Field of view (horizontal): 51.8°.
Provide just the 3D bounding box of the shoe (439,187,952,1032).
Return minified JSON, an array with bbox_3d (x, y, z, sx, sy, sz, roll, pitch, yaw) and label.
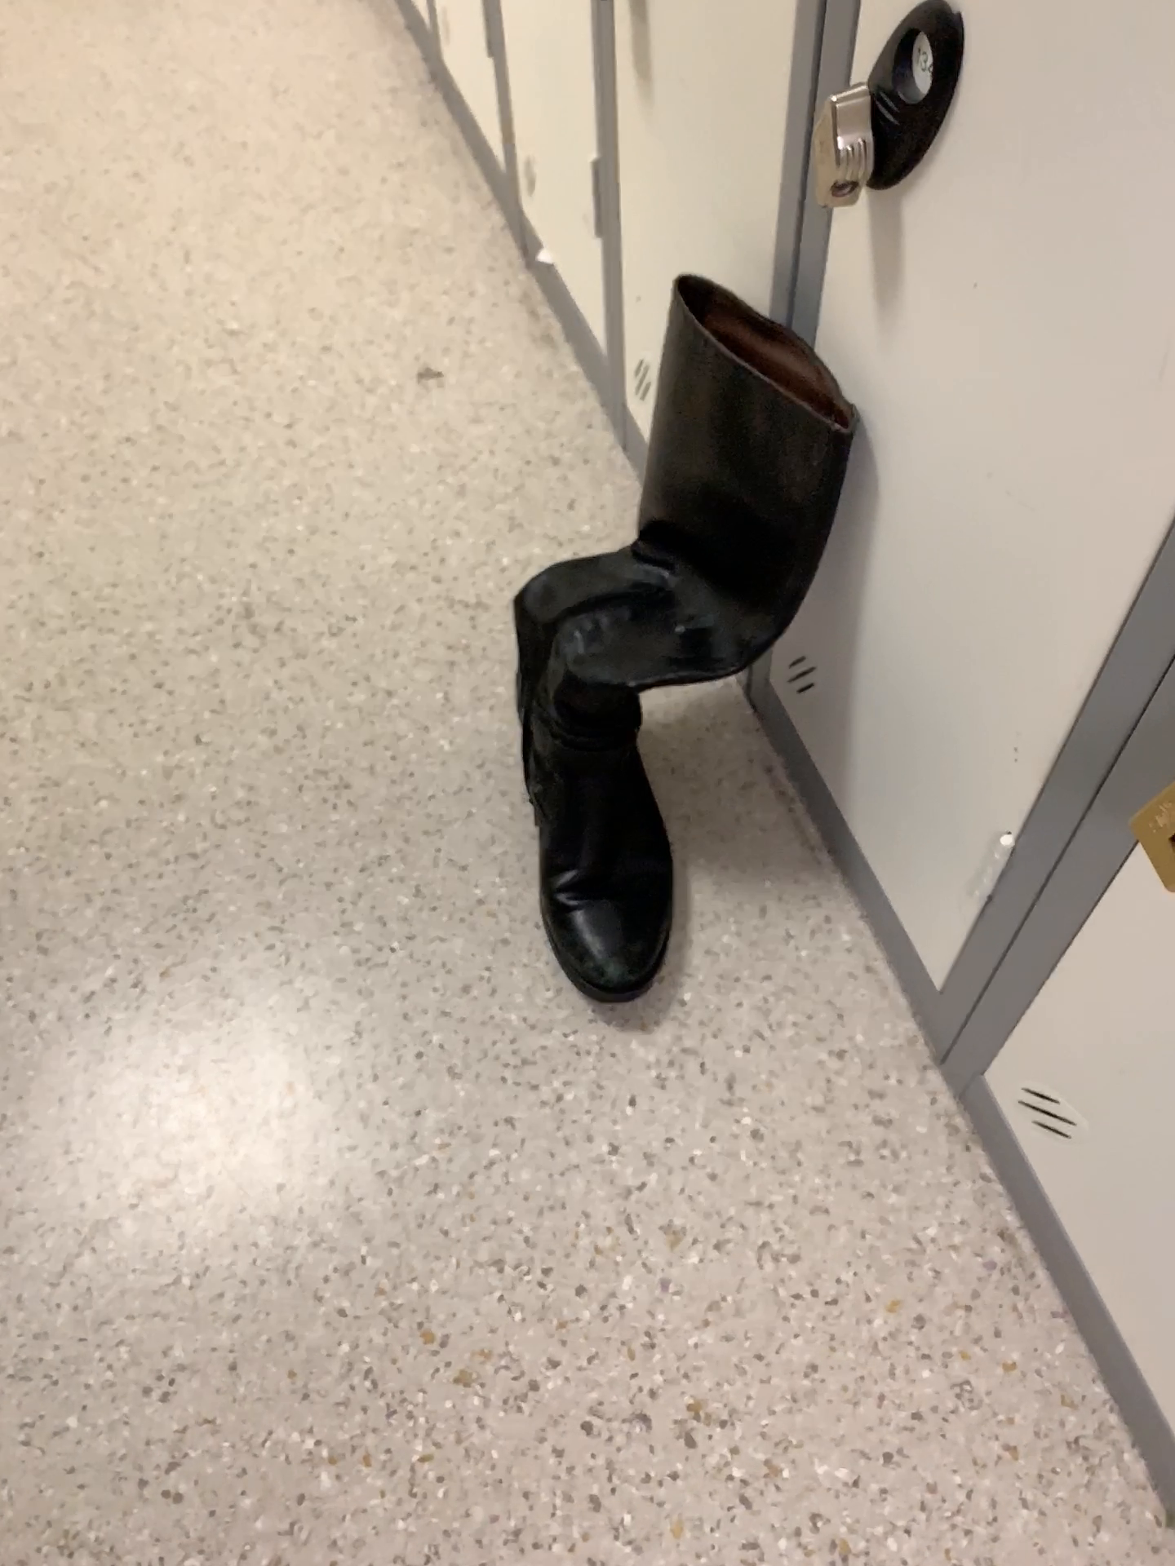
[{"bbox_3d":[0.034,-0.084,0.684,0.167,0.331,0.316,-8,56,-5],"label":"shoe"}]
